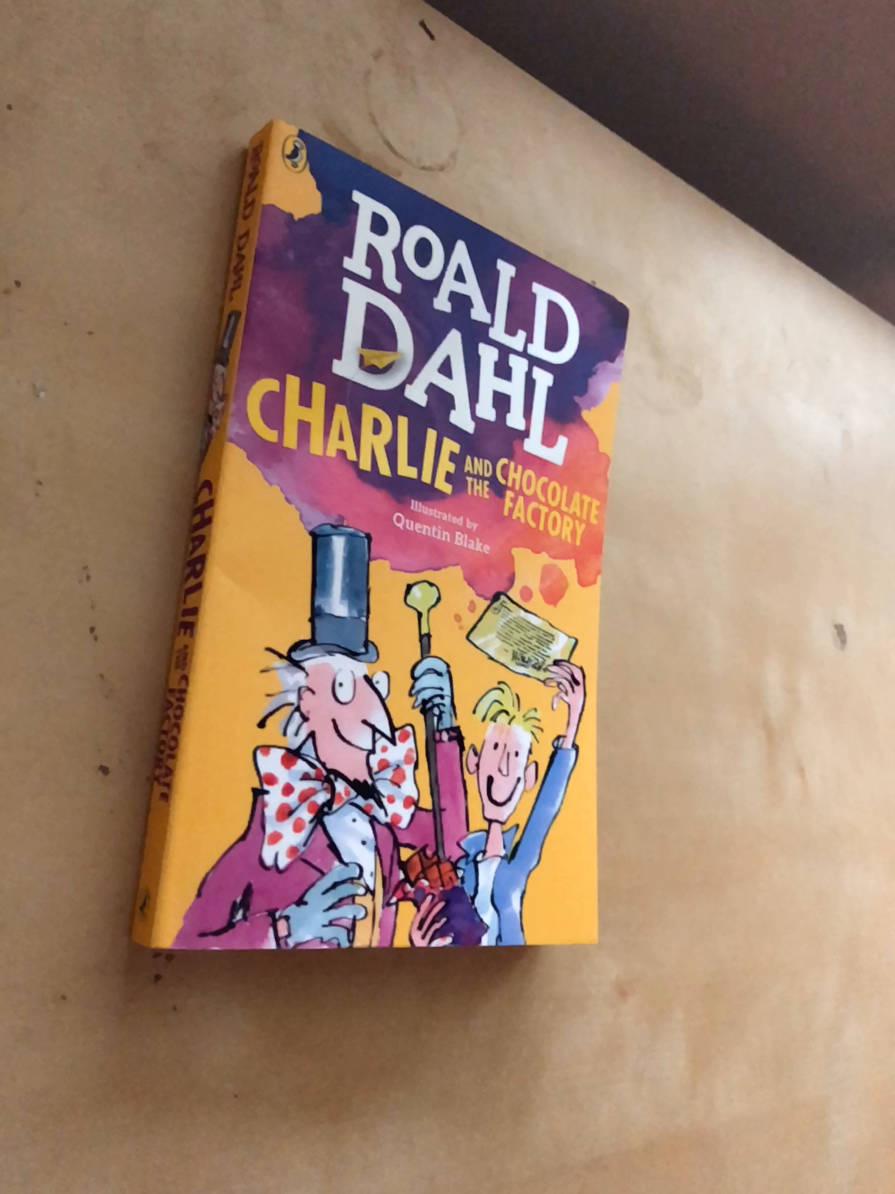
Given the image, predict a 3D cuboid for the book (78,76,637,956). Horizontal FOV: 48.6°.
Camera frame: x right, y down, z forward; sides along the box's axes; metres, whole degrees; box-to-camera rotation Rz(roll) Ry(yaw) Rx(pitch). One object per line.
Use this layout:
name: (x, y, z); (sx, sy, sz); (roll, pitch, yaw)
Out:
book: (-0.012, -0.012, 0.273); (0.135, 0.040, 0.201); (14, 75, -37)
